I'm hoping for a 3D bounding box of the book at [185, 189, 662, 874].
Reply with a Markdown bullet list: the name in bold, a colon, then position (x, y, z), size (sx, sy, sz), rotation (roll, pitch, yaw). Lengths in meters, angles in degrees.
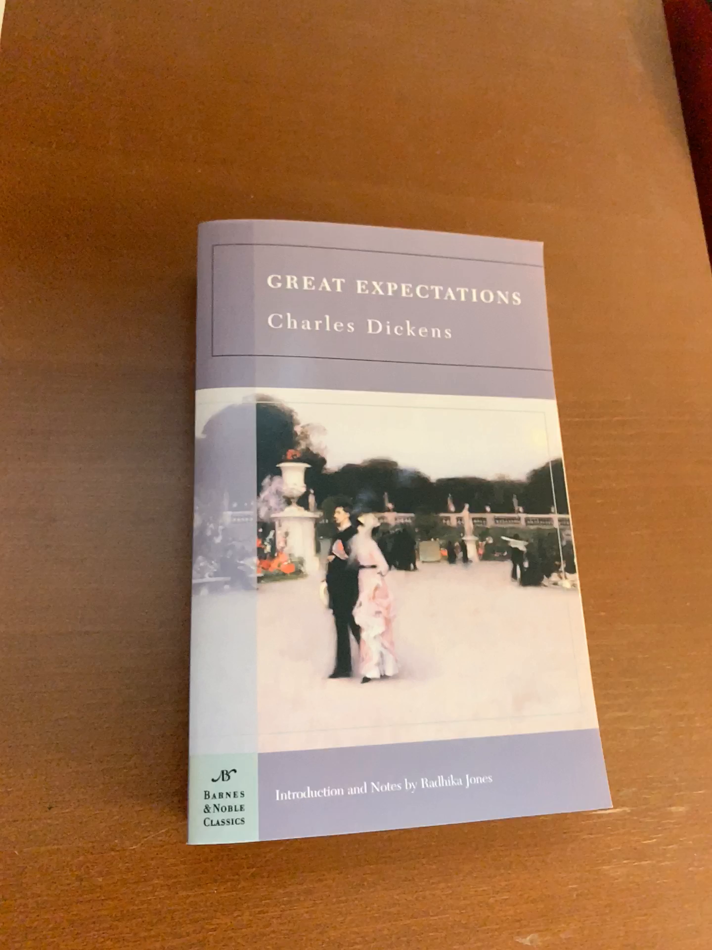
- **book**: position (0.015, 0.010, 0.251), size (0.140, 0.040, 0.201), rotation (0, 76, -14)
